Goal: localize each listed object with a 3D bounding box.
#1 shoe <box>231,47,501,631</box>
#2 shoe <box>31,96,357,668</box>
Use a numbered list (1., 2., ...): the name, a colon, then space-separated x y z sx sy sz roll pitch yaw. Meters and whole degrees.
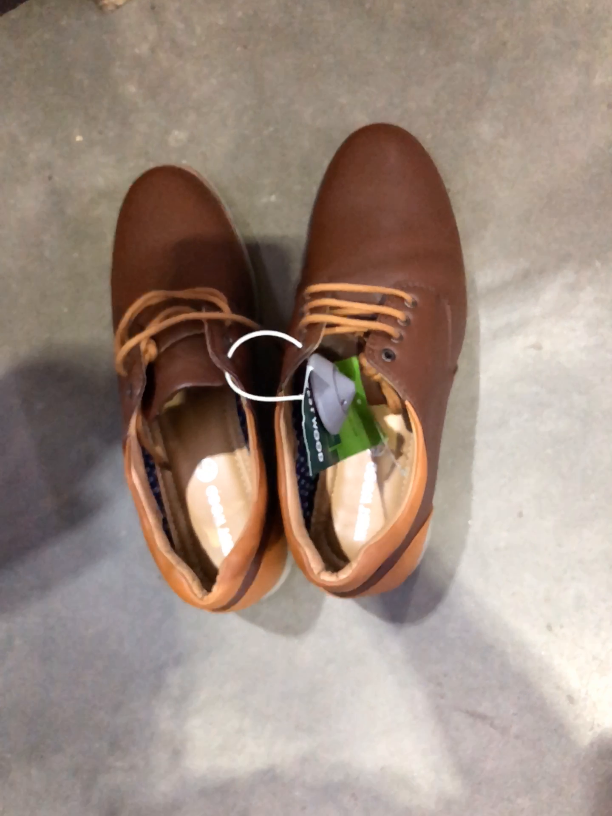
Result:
1. shoe: 0.046 -0.039 0.431 0.120 0.130 0.310 4 84 12
2. shoe: -0.061 -0.012 0.411 0.110 0.120 0.280 -14 80 9
